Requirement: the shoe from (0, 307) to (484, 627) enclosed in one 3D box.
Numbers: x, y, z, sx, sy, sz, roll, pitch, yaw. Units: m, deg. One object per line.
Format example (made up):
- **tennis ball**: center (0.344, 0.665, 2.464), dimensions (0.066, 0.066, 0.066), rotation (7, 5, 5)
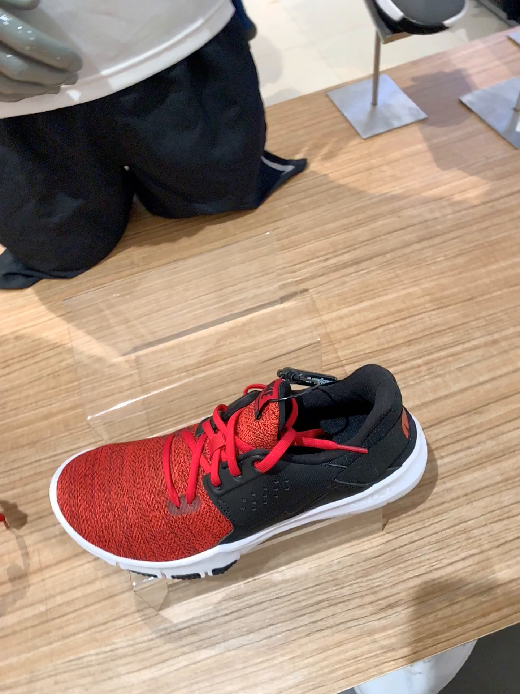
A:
- **shoe**: center (-0.021, 0.079, 0.361), dimensions (0.290, 0.080, 0.111), rotation (-17, 55, -2)
